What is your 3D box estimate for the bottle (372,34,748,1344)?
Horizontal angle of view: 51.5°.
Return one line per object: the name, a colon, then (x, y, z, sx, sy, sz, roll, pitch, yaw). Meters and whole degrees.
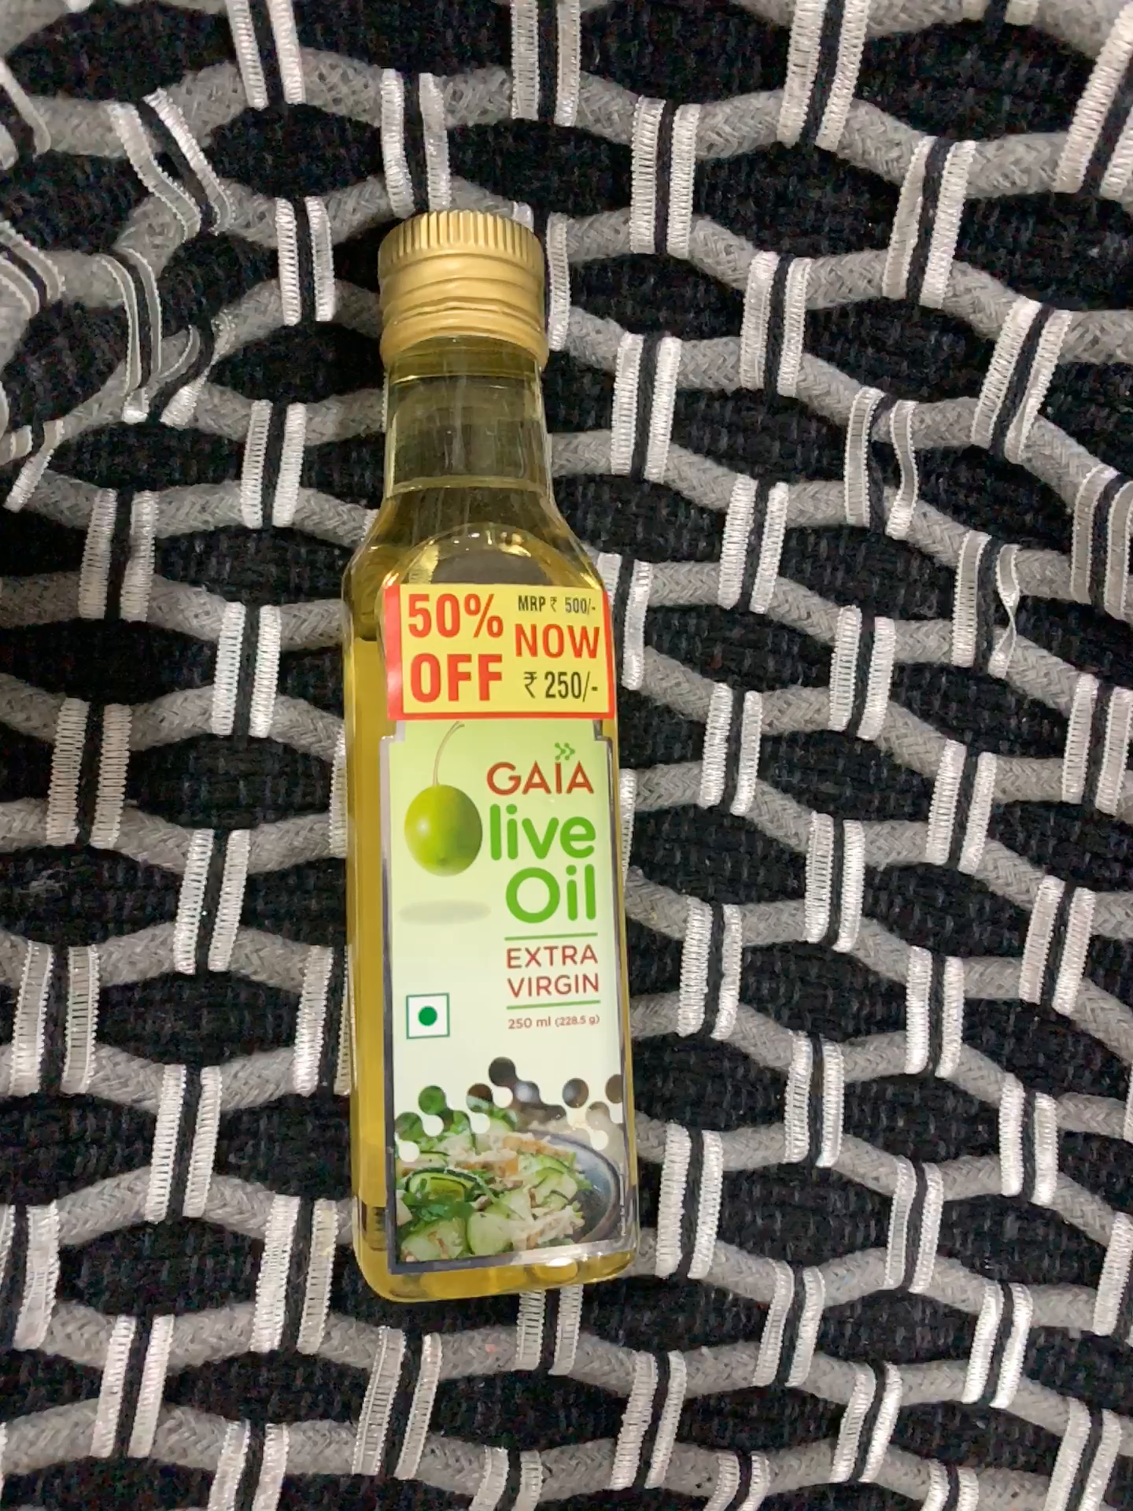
bottle: (-0.006, -0.013, 0.198, 0.050, 0.050, 0.190, 0, 83, -12)
